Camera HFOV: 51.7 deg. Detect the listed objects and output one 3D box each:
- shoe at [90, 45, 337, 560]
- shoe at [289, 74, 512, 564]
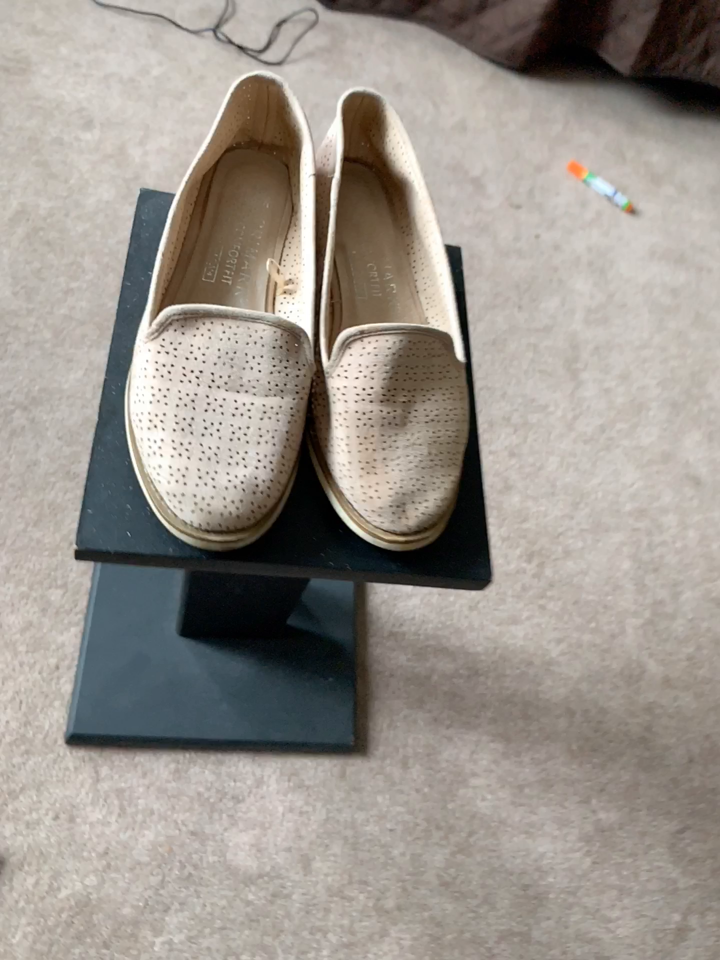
[{"bbox_3d":[-0.071,-0.094,0.392,0.080,0.080,0.251,9,69,-11],"label":"shoe"},{"bbox_3d":[0.013,-0.086,0.410,0.080,0.080,0.251,0,73,-16],"label":"shoe"}]
